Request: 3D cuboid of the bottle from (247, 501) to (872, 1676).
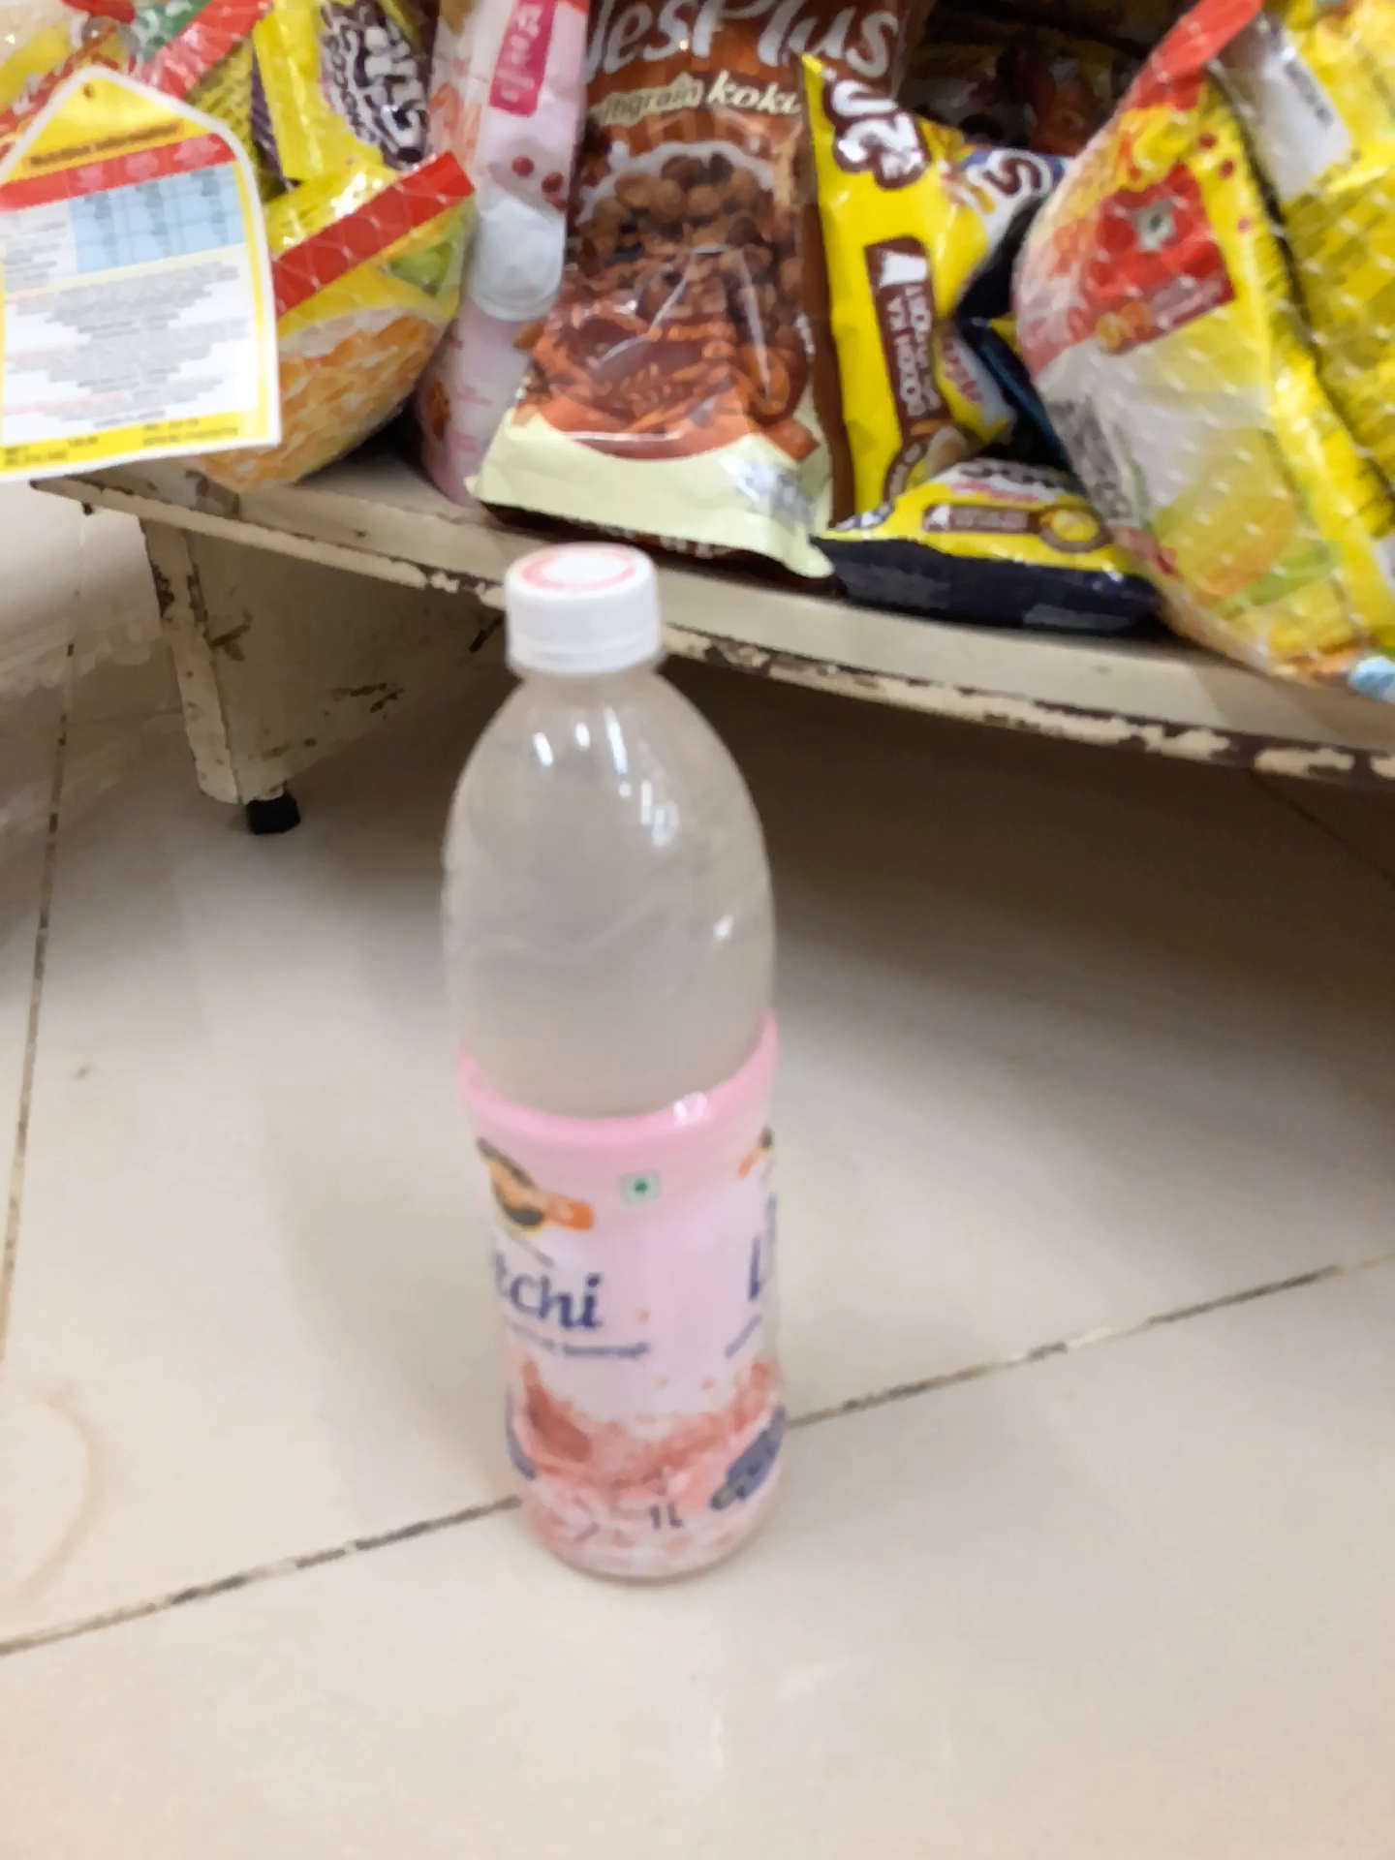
[{"bbox_3d":[-0.021,0.041,0.337,0.080,0.238,0.080,-2,32,1],"label":"bottle"}]
